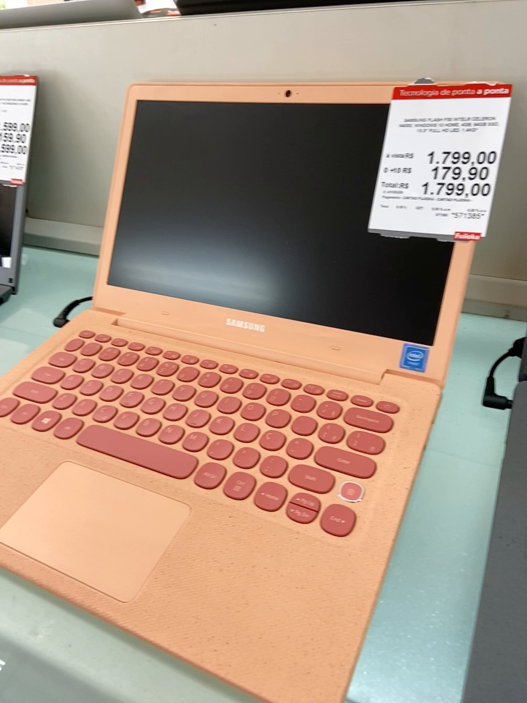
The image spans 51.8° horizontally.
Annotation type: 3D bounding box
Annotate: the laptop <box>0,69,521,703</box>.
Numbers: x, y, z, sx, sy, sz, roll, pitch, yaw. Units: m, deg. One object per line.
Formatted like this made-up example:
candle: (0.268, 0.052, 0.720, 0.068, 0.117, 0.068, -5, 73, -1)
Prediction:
laptop: (-0.045, -0.046, 0.364, 0.329, 0.160, 0.360, 12, 43, 25)
